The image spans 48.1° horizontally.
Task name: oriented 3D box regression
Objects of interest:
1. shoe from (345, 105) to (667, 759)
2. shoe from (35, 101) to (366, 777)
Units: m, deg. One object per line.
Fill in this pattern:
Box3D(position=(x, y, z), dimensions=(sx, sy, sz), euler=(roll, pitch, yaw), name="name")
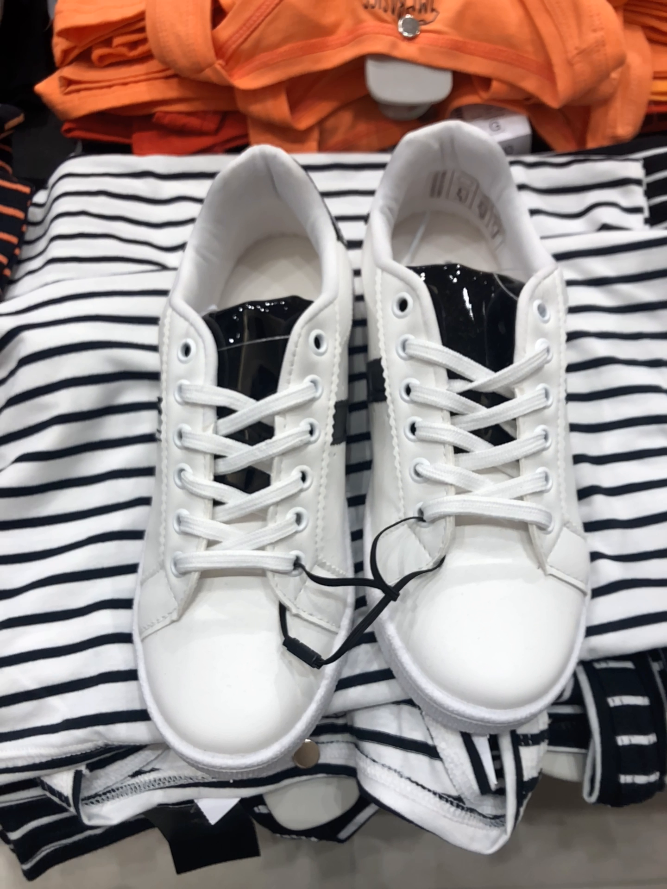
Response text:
Box3D(position=(0.056, -0.007, 0.264), dimensions=(0.090, 0.080, 0.210), euler=(-1, 69, -3), name="shoe")
Box3D(position=(-0.034, -0.004, 0.256), dimensions=(0.080, 0.080, 0.210), euler=(1, 69, -3), name="shoe")
